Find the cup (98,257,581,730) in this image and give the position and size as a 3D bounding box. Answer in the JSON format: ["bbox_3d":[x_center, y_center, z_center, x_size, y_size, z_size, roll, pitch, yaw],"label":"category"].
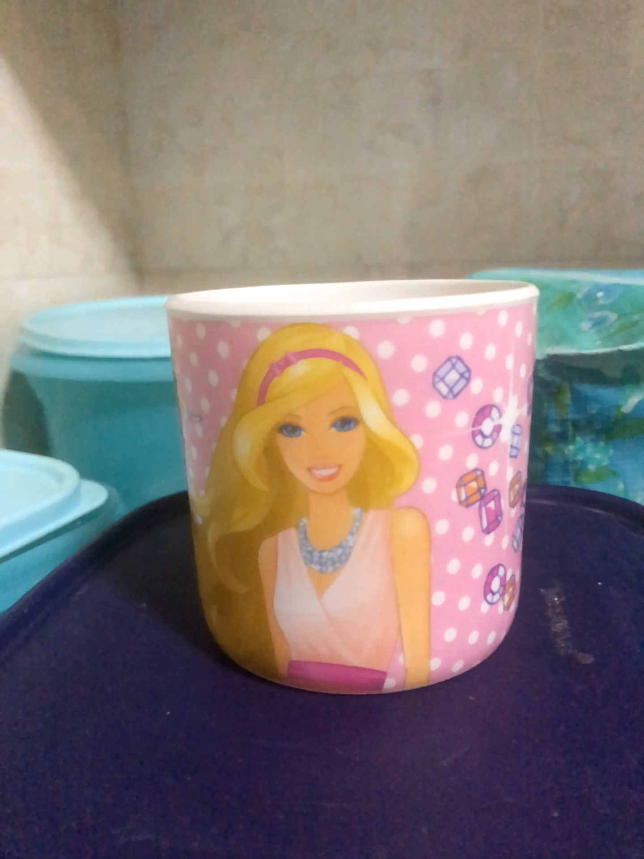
[{"bbox_3d":[0.014,-0.001,0.184,0.080,0.080,0.120,1,14,12],"label":"cup"}]
